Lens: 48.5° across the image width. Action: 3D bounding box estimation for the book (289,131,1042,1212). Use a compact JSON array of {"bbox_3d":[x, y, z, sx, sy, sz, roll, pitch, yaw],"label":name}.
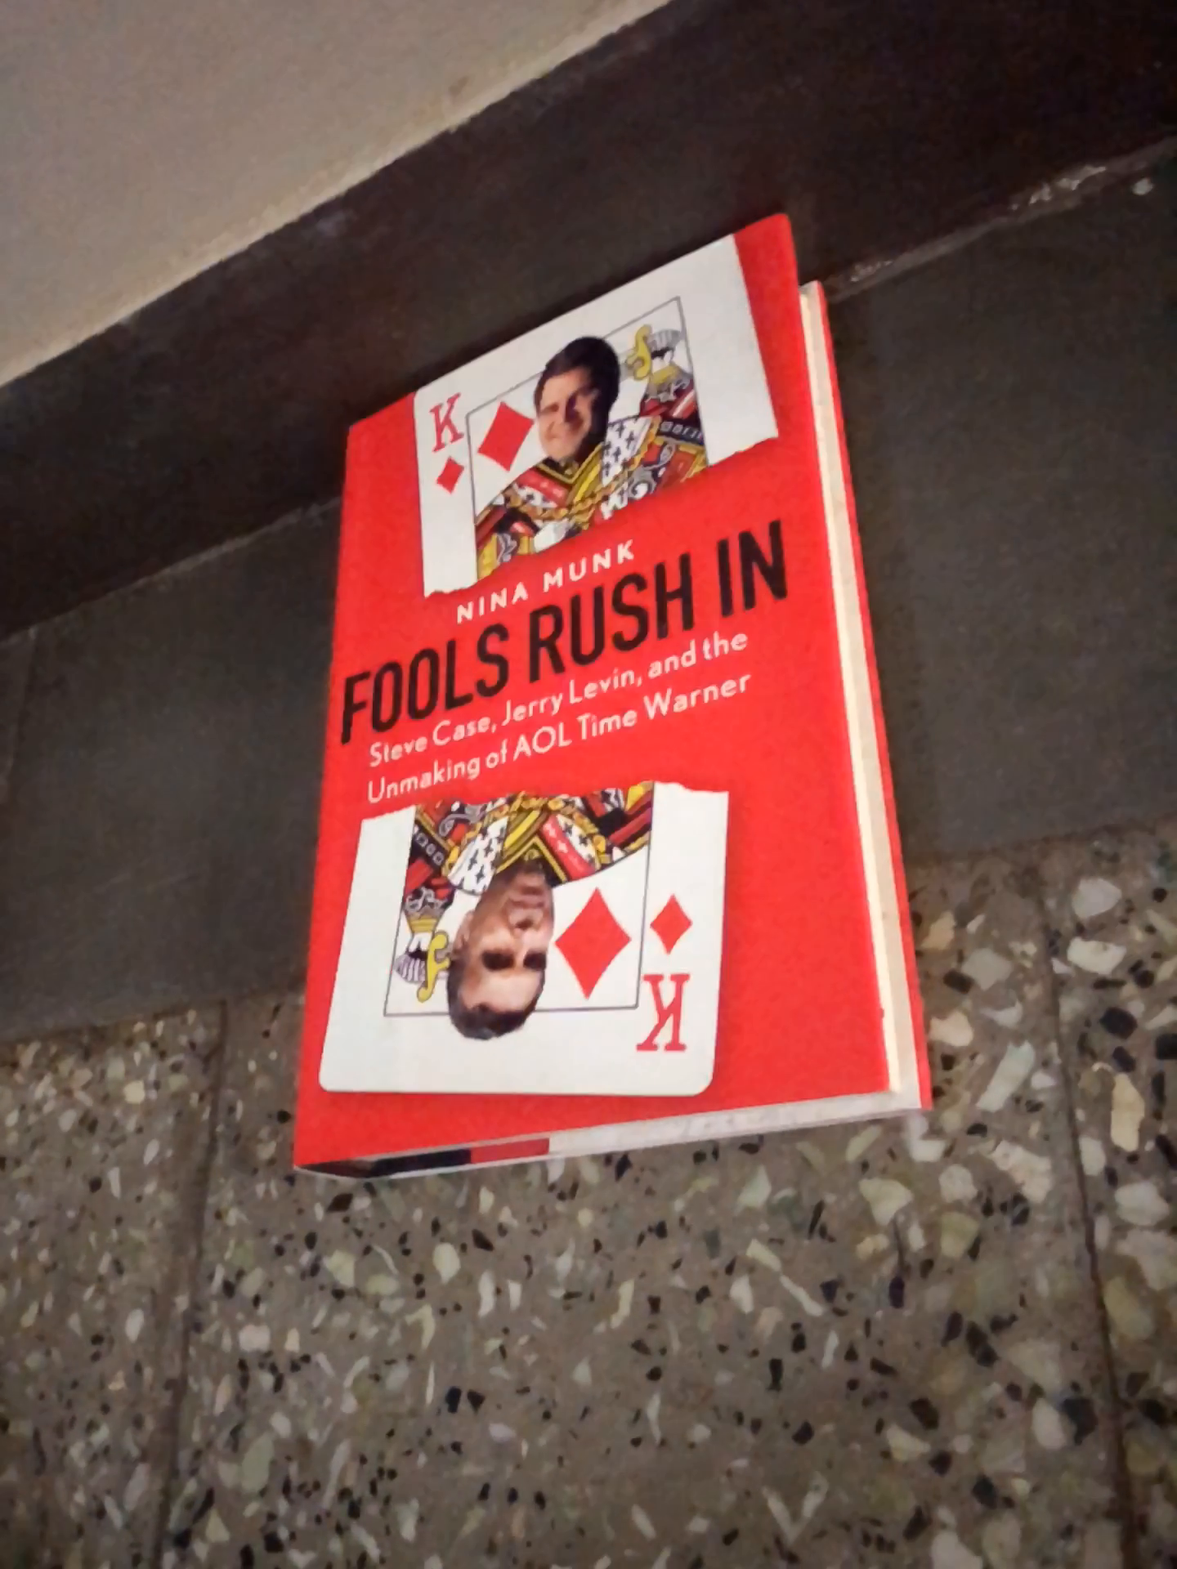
[{"bbox_3d":[0.005,-0.034,0.359,0.181,0.030,0.270,-17,60,28],"label":"book"}]
